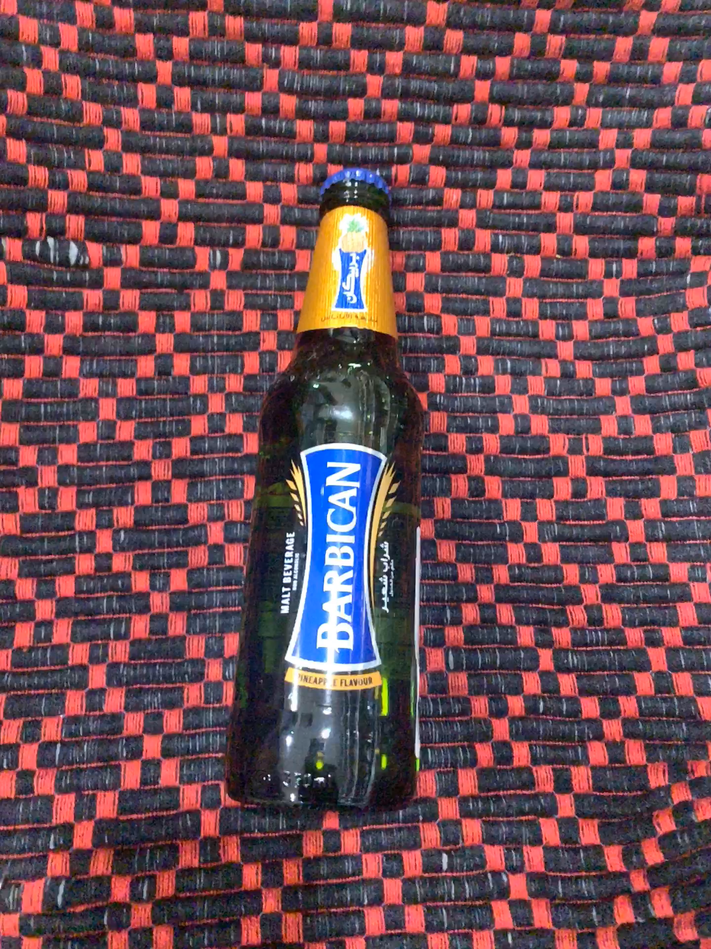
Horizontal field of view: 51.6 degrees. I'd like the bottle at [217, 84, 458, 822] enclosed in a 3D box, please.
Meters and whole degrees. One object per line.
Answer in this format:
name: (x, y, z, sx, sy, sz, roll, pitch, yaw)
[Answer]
bottle: (-0.004, -0.016, 0.263, 0.060, 0.070, 0.250, 4, 67, -4)
